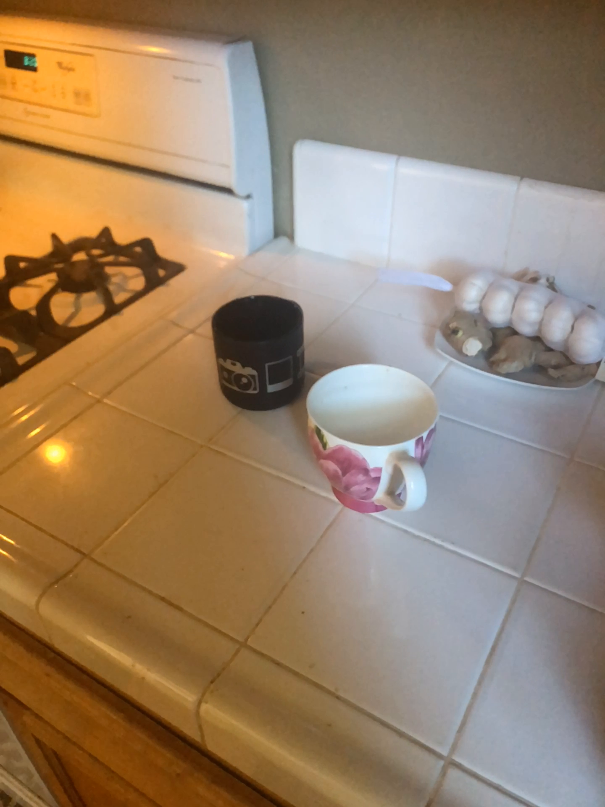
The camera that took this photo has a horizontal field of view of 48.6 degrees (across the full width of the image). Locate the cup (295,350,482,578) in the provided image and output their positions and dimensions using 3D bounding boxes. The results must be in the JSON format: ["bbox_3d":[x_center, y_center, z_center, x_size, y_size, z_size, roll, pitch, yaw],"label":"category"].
[{"bbox_3d":[0.060,0.043,0.541,0.100,0.089,0.151,-9,39,-9],"label":"cup"}]

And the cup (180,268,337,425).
[{"bbox_3d":[-0.039,-0.064,0.688,0.100,0.079,0.141,16,42,21],"label":"cup"}]
